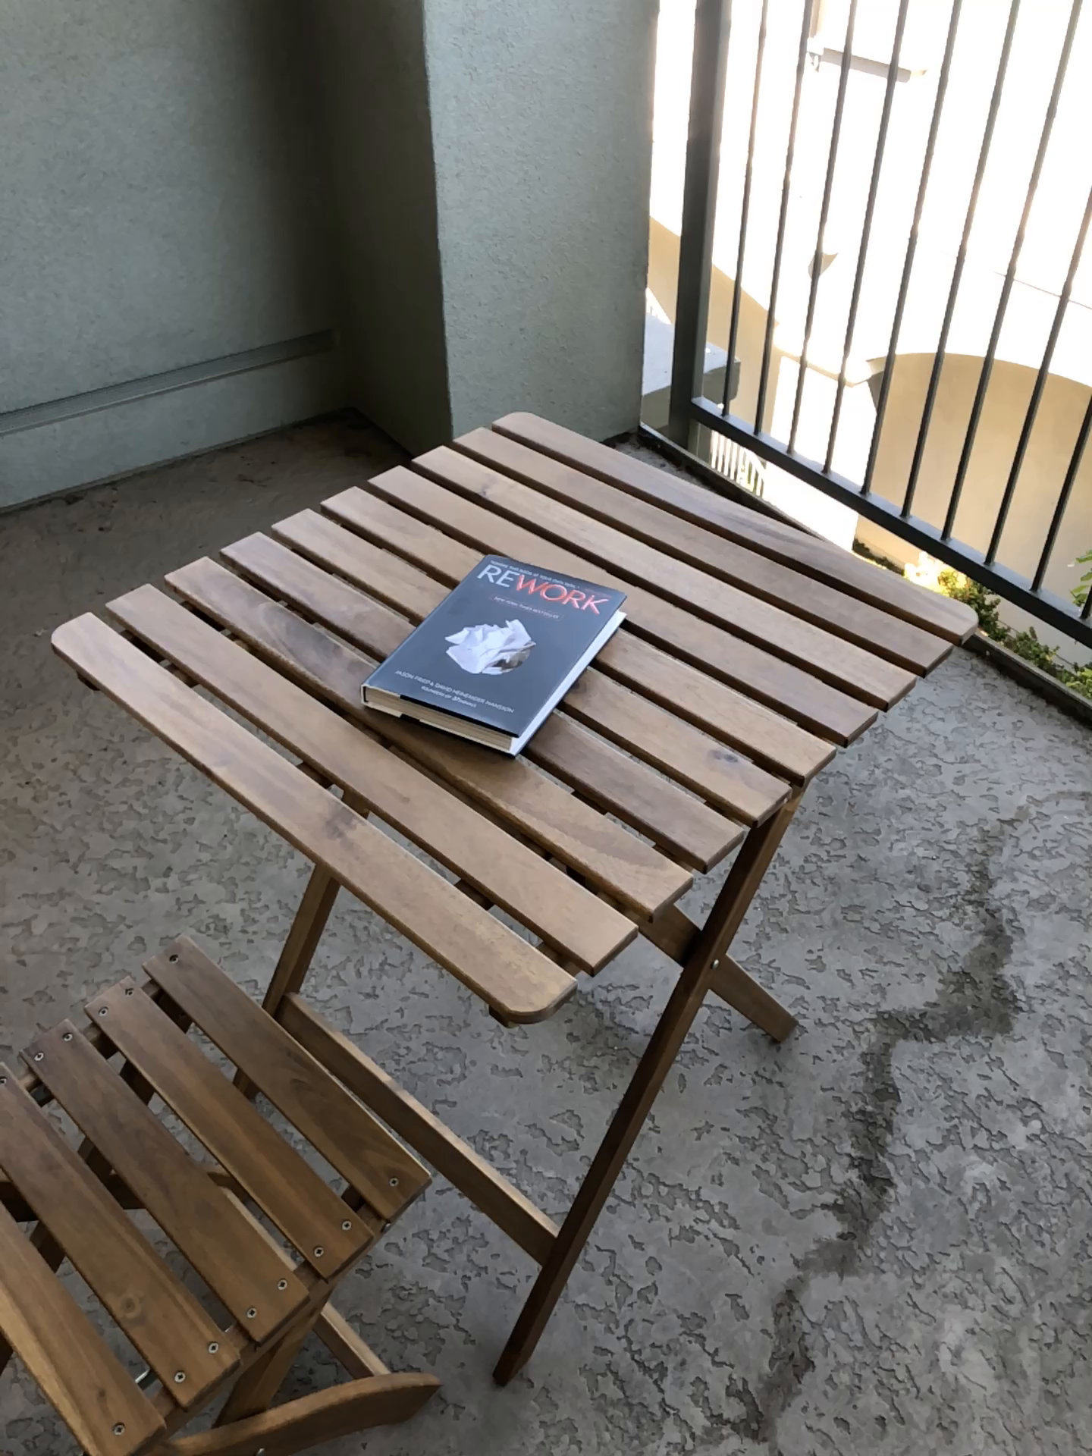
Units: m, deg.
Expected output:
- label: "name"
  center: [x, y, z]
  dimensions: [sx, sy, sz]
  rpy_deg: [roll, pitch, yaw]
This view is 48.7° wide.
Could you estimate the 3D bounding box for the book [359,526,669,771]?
- label: "book"
  center: [-0.021, -0.078, 1.037]
  dimensions: [0.170, 0.040, 0.241]
  rpy_deg: [18, 45, 20]
